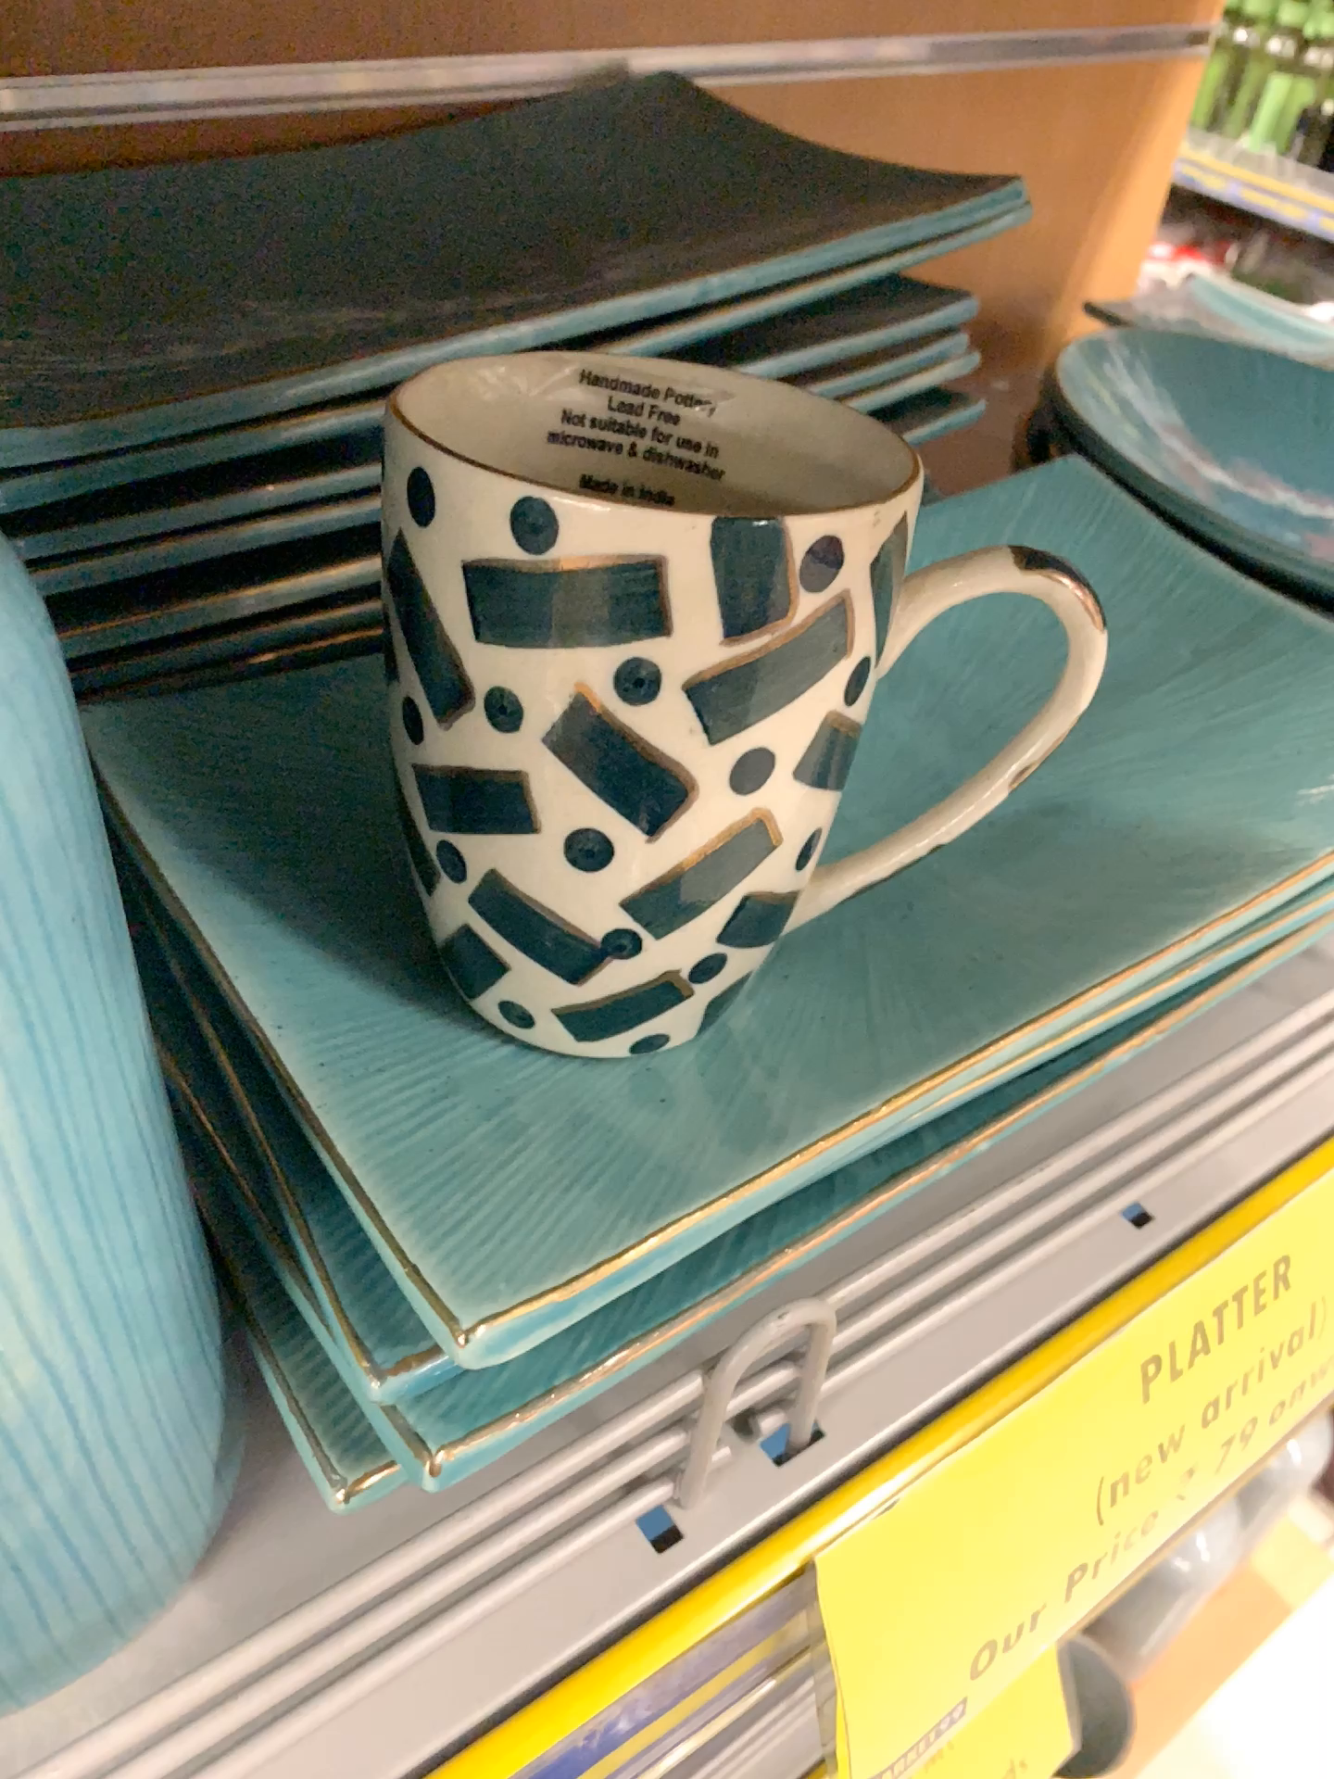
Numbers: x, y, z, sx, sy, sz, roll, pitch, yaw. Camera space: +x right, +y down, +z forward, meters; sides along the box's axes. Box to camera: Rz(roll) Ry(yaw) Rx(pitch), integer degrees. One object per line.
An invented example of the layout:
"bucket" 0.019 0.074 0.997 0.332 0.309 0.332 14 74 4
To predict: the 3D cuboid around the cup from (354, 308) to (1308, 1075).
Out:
"cup" 0.013 -0.034 0.213 0.110 0.080 0.080 -4 34 -19
